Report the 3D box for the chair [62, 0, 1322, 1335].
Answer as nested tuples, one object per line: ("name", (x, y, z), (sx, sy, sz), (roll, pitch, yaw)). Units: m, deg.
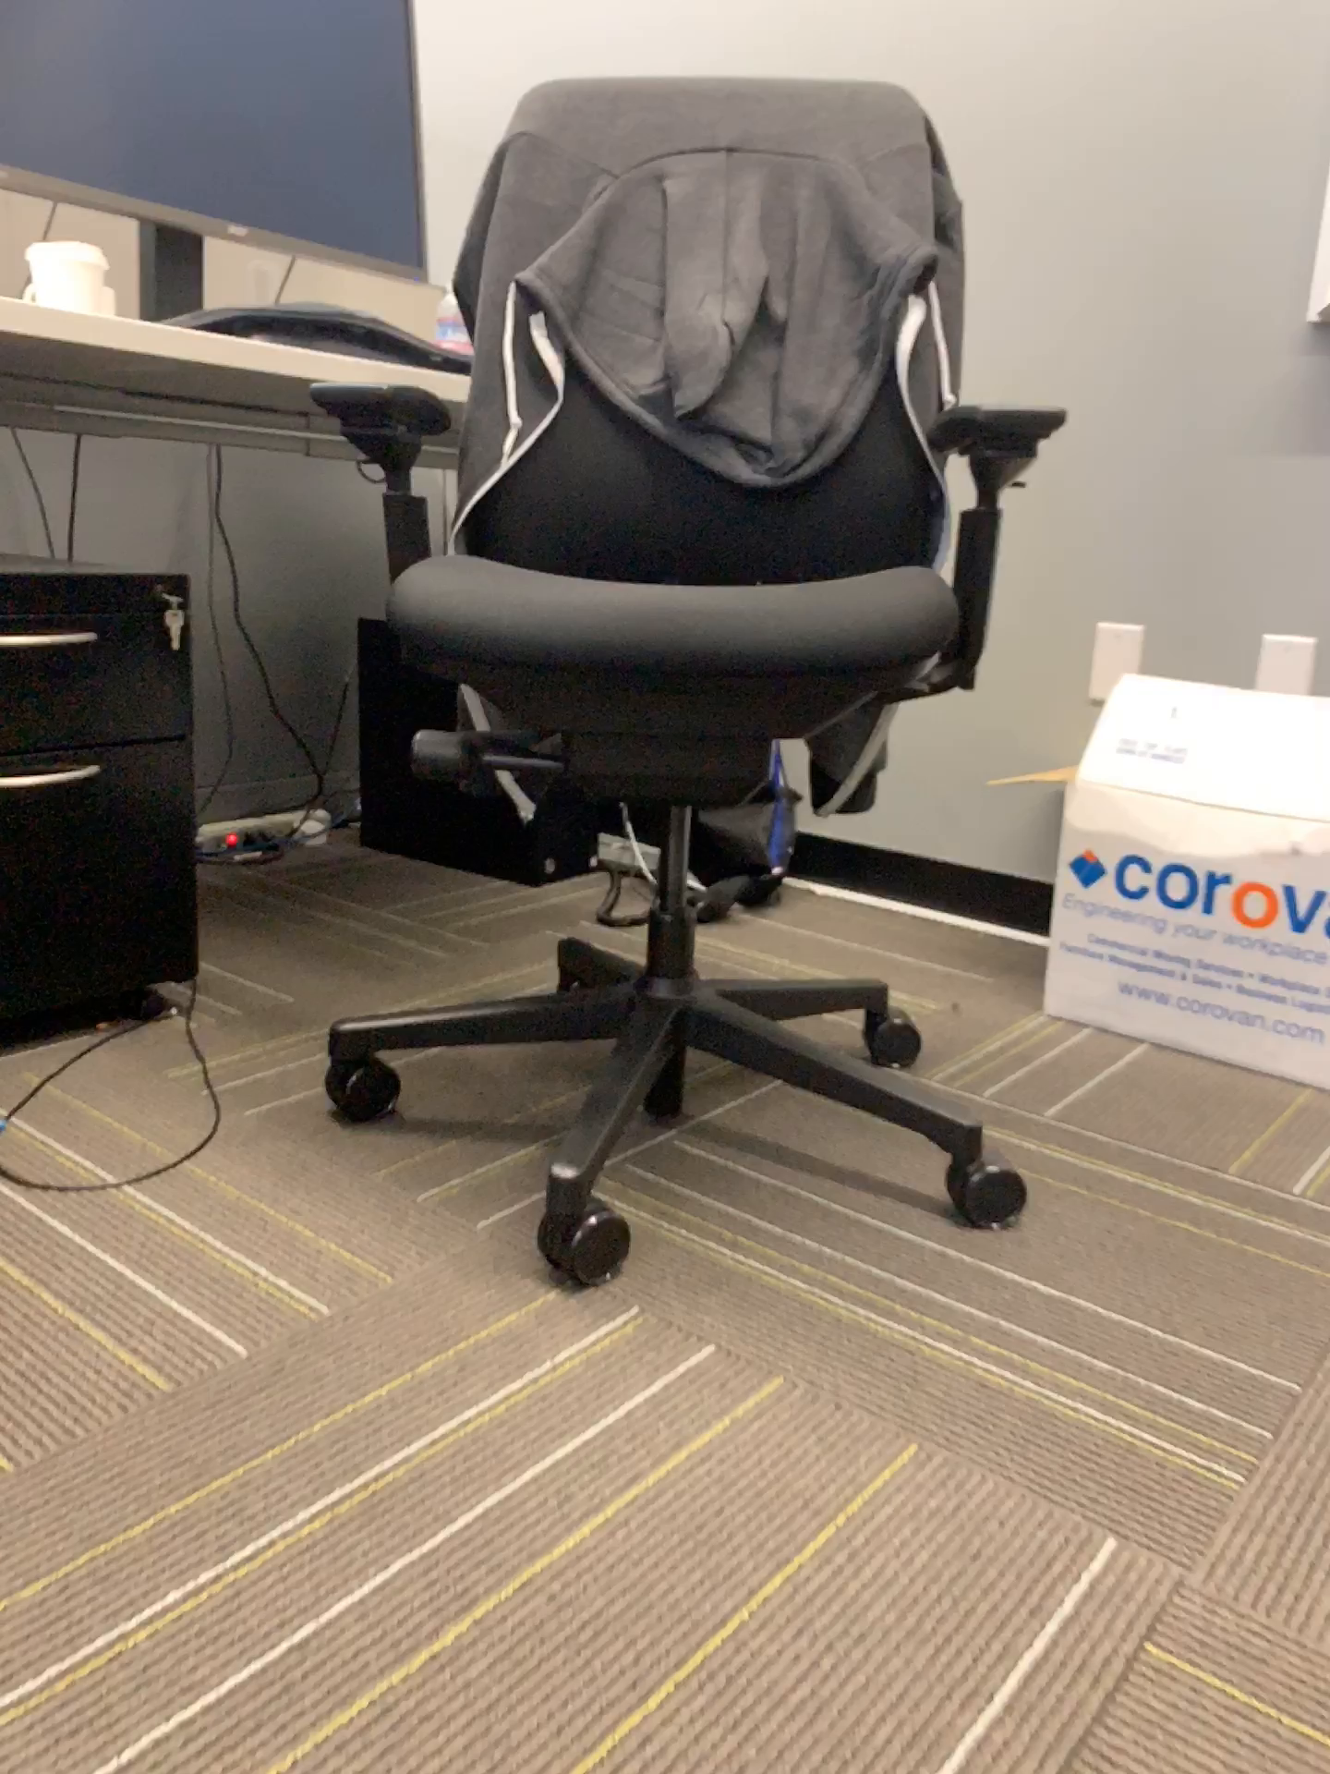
("chair", (0.012, -0.319, 1.367), (0.750, 1.076, 0.883), (4, 14, 4))
